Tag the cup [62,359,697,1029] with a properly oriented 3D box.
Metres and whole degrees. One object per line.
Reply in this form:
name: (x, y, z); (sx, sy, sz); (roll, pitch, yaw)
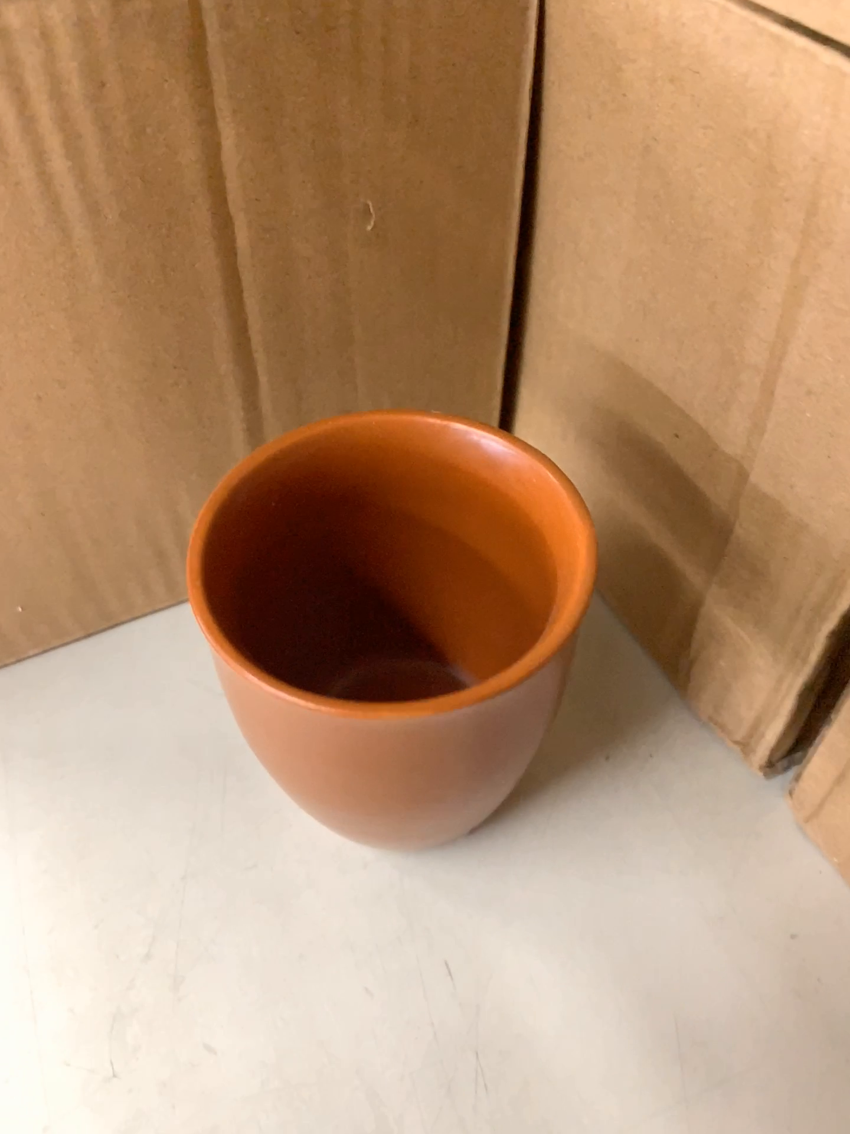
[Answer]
cup: (-0.003, 0.023, 0.165); (0.070, 0.079, 0.070); (-1, 50, 2)
